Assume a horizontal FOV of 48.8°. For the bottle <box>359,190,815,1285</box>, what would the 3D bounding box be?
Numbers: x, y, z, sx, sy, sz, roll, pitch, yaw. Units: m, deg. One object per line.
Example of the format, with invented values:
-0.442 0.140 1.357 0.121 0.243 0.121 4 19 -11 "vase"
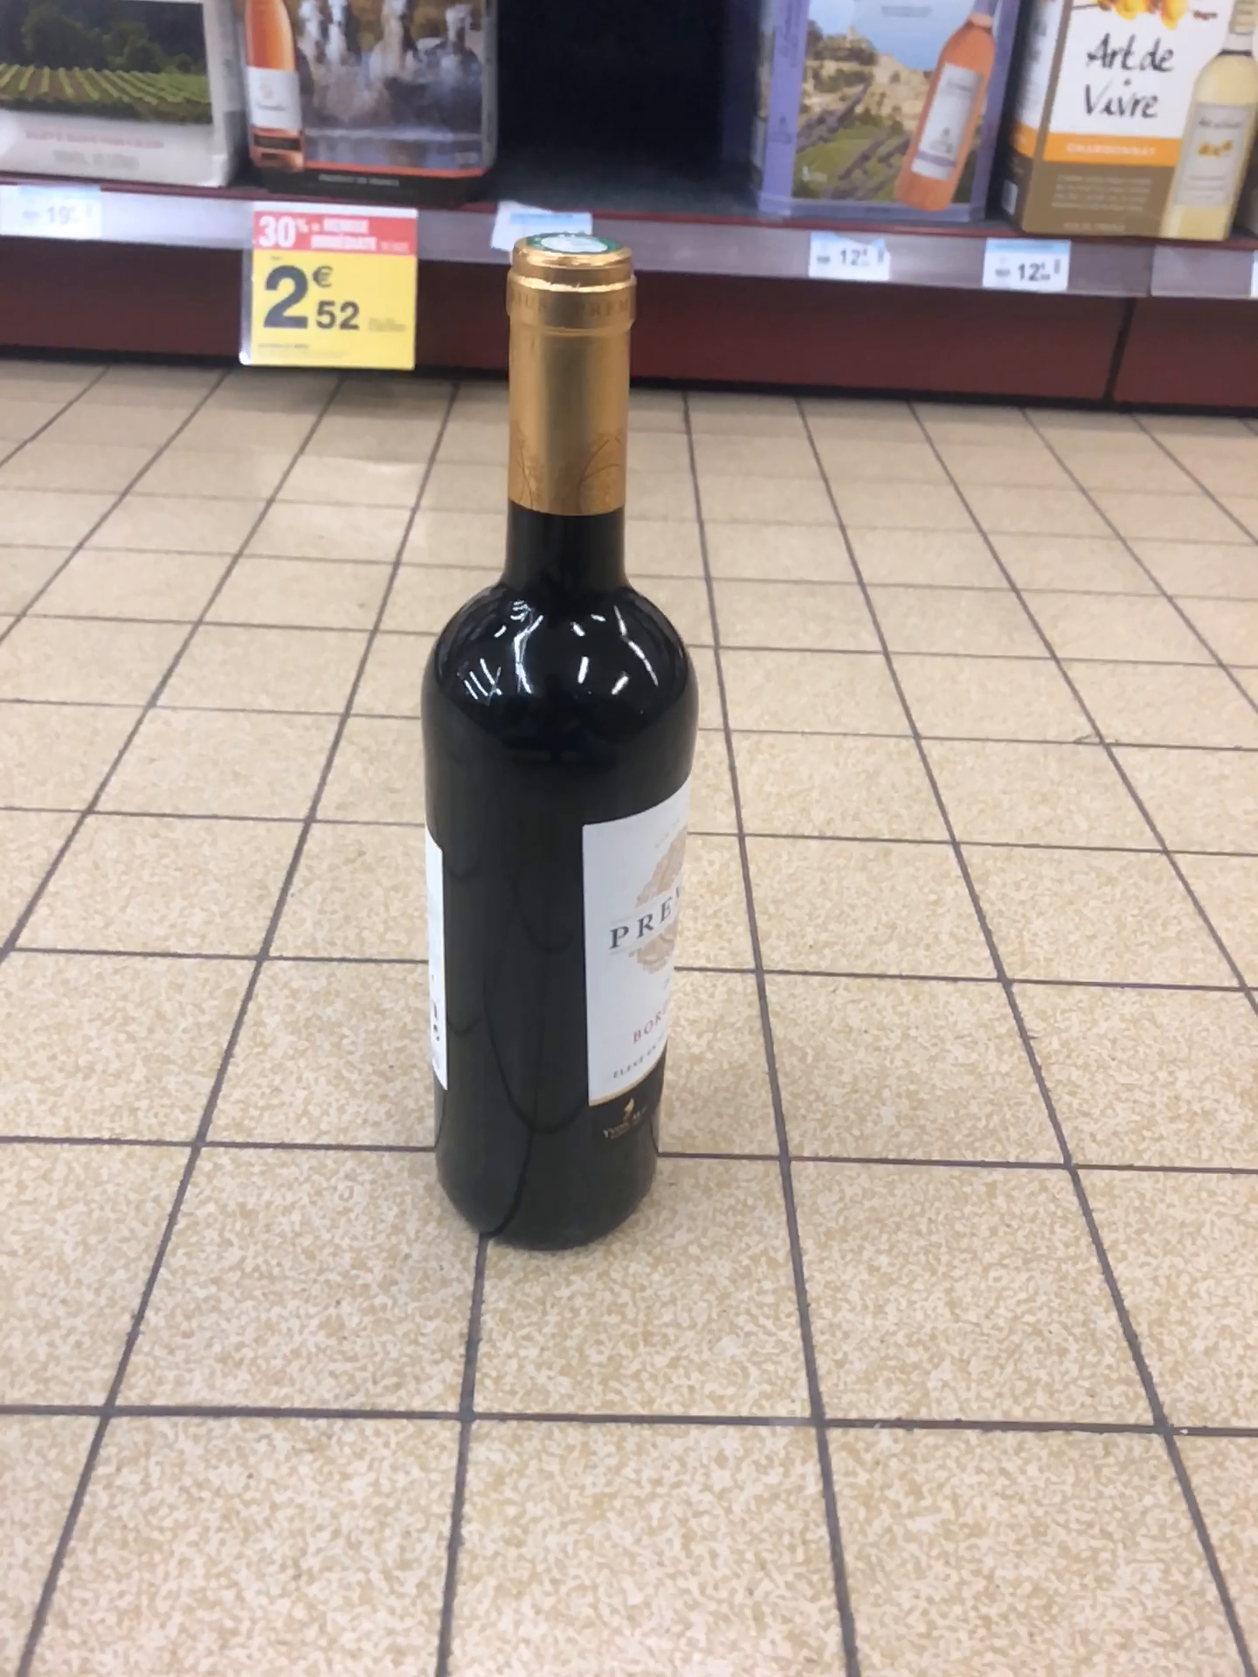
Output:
-0.013 -0.015 0.390 0.080 0.288 0.091 11 34 11 "bottle"
